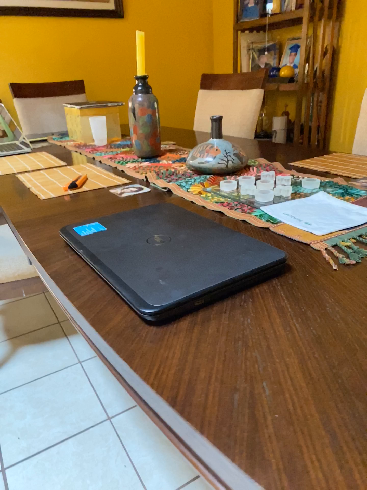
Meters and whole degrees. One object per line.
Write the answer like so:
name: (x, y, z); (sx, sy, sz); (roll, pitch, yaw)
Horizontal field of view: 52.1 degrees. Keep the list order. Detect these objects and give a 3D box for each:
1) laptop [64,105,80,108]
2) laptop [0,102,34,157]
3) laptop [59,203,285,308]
laptop: (-0.546, -0.678, 1.837); (0.002, 0.003, 0.280); (-42, 35, -11)
laptop: (-0.859, -0.544, 1.738); (0.216, 0.194, 0.319); (-17, 27, -26)
laptop: (-0.042, -0.009, 0.664); (0.248, 0.001, 0.353); (-17, 28, -30)
